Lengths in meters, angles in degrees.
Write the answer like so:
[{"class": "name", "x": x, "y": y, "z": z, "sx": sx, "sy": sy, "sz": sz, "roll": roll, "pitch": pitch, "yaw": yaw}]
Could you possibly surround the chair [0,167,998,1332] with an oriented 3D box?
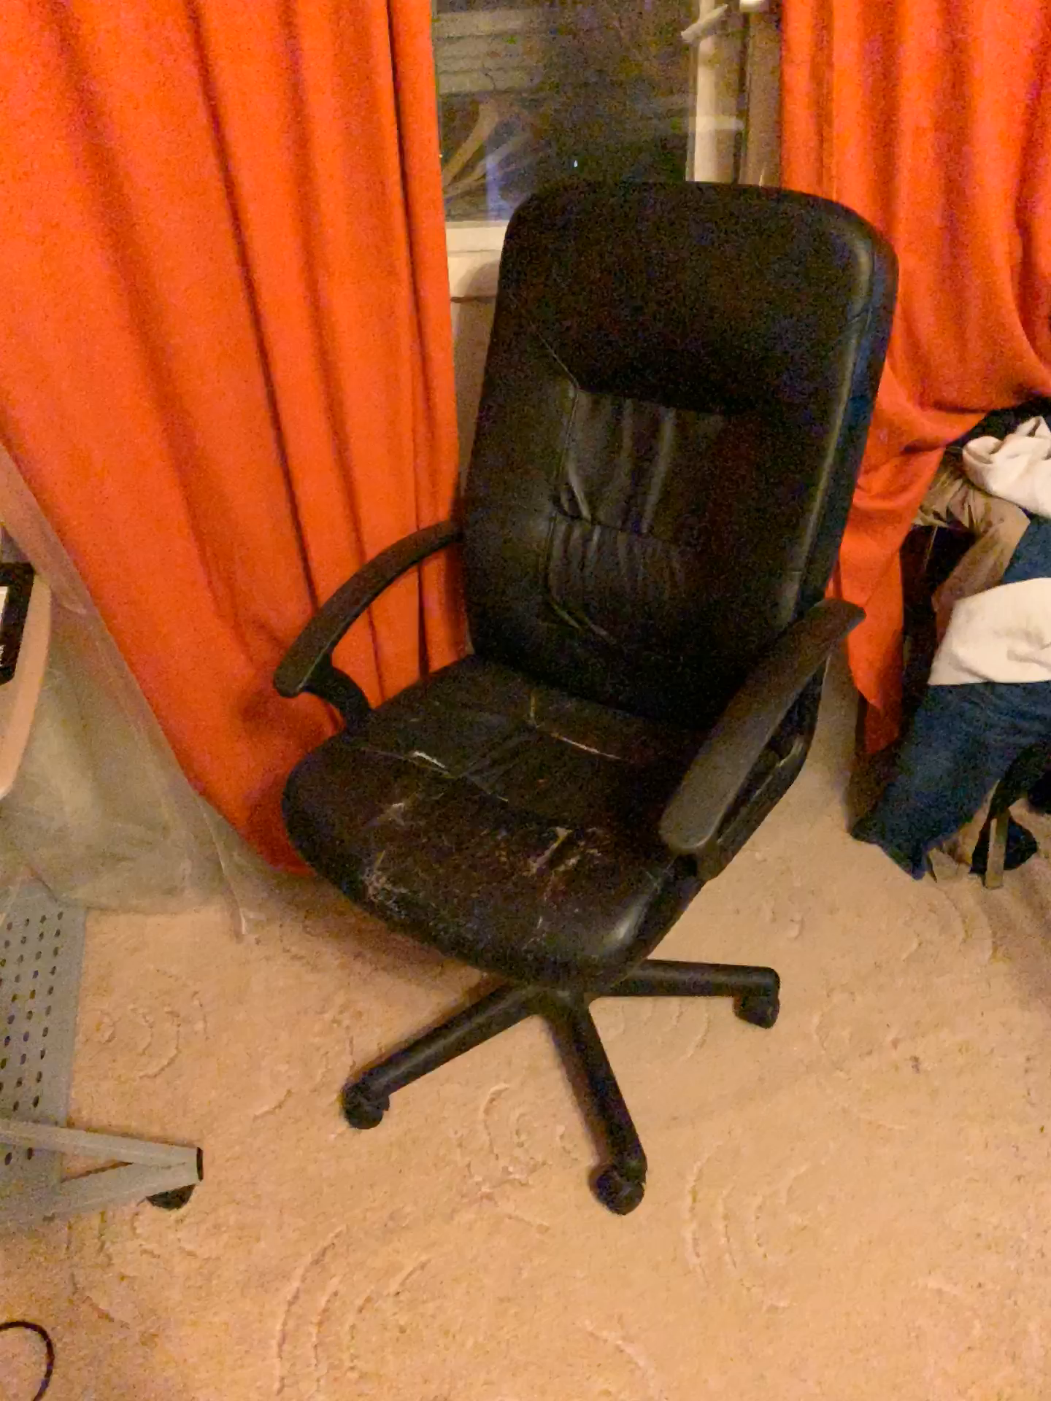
[{"class": "chair", "x": 0.029, "y": 0.002, "z": 1.384, "sx": 0.711, "sy": 1.124, "sz": 0.743, "roll": 19, "pitch": 40, "yaw": 30}]
